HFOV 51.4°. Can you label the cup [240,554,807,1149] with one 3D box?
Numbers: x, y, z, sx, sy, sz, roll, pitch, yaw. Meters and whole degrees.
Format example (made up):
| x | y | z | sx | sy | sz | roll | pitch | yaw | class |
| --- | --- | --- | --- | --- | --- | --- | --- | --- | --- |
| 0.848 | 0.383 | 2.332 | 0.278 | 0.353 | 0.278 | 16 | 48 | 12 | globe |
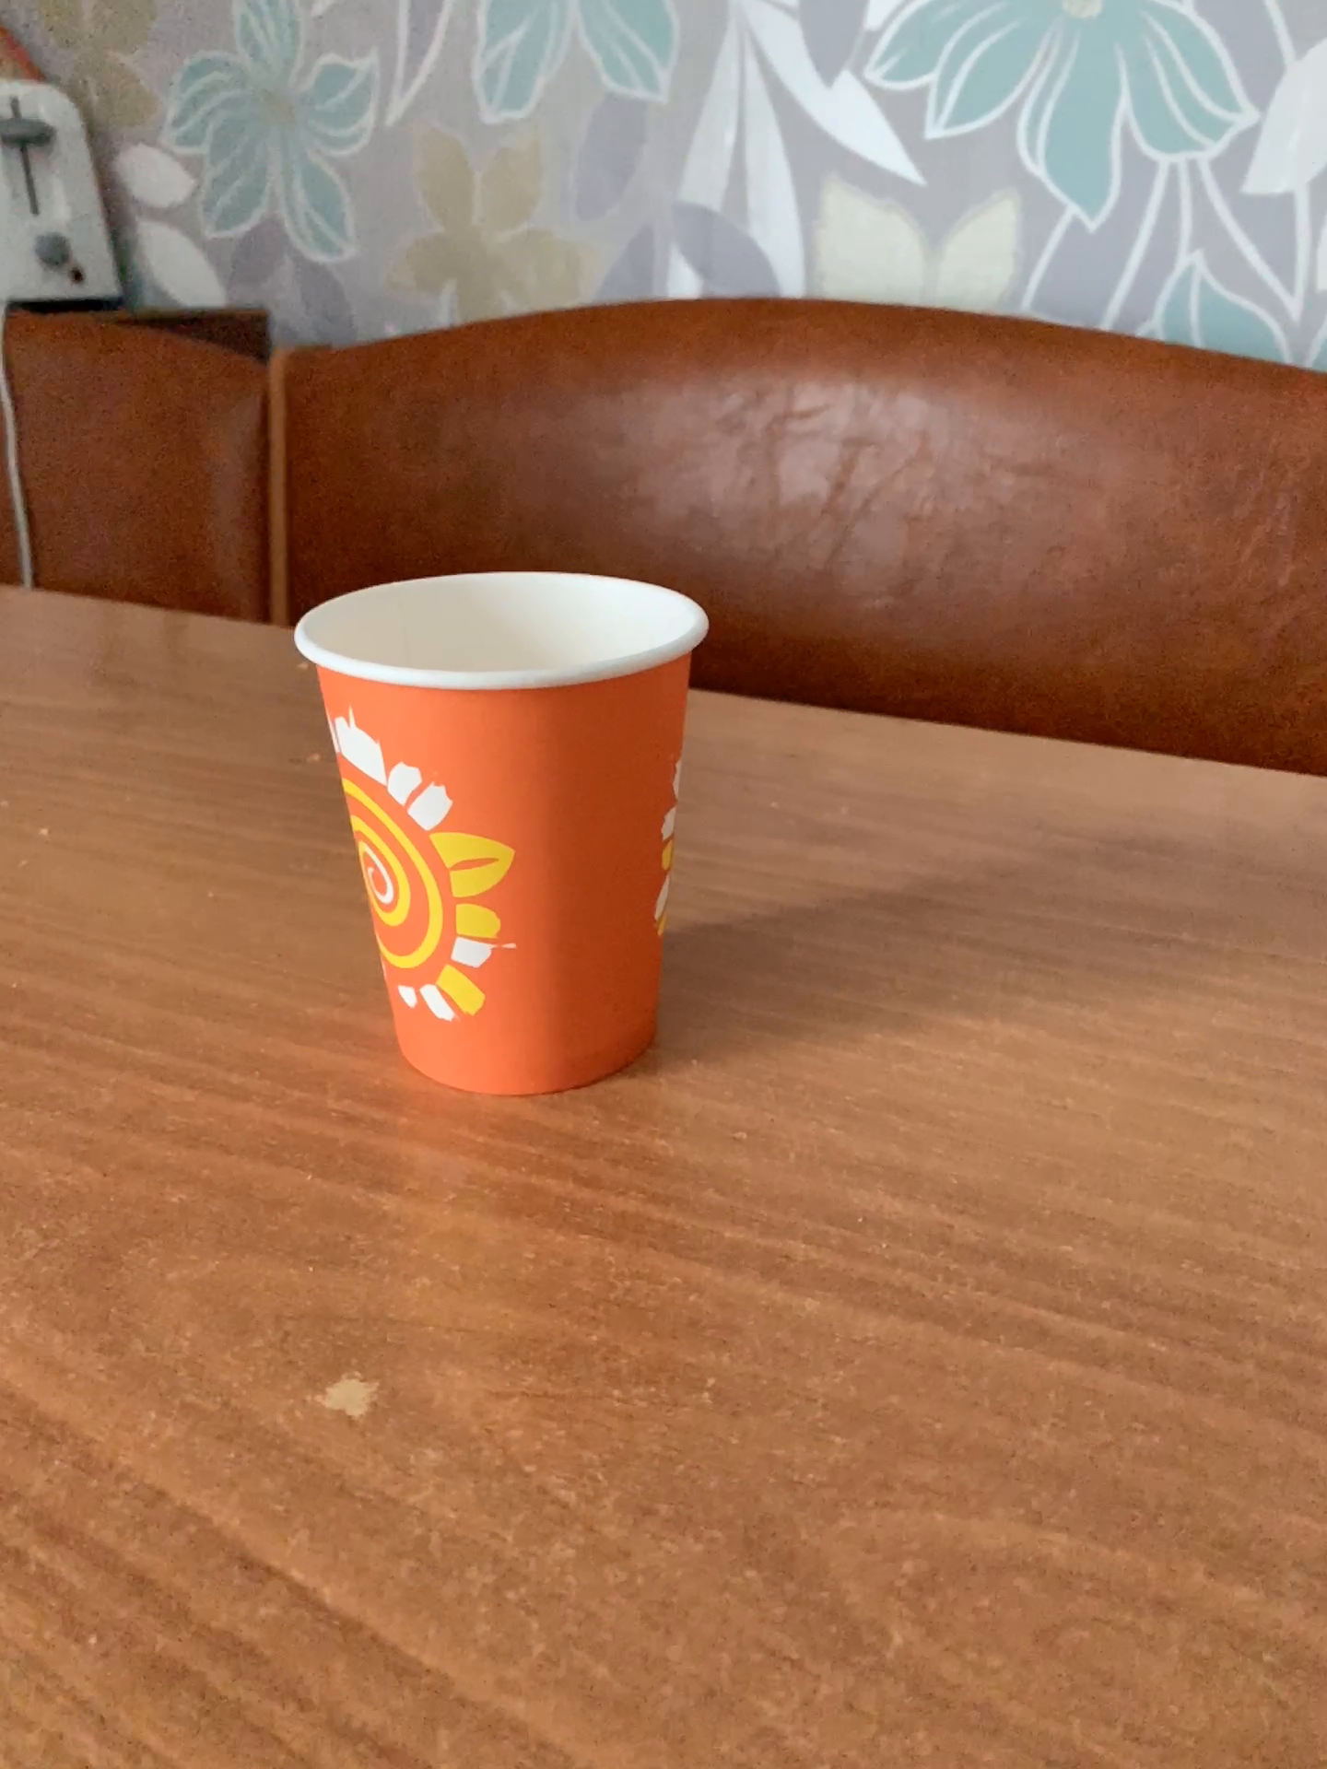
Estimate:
| x | y | z | sx | sy | sz | roll | pitch | yaw | class |
| --- | --- | --- | --- | --- | --- | --- | --- | --- | --- |
| -0.029 | -0.014 | 0.281 | 0.079 | 0.083 | 0.082 | 0 | 25 | 0 | cup |
